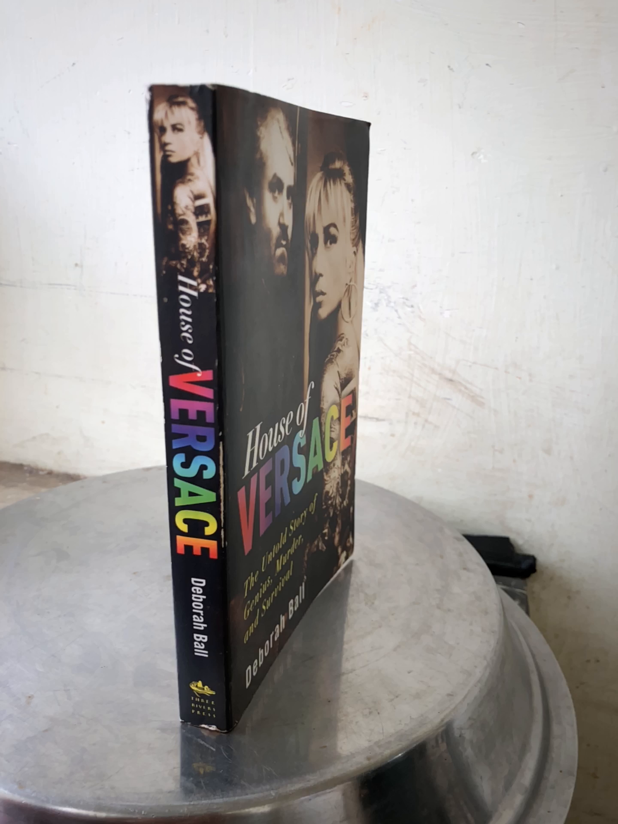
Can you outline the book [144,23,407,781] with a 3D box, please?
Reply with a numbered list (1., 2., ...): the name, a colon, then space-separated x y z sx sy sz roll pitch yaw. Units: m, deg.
1. book: -0.003 -0.012 0.282 0.040 0.219 0.181 7 16 15
